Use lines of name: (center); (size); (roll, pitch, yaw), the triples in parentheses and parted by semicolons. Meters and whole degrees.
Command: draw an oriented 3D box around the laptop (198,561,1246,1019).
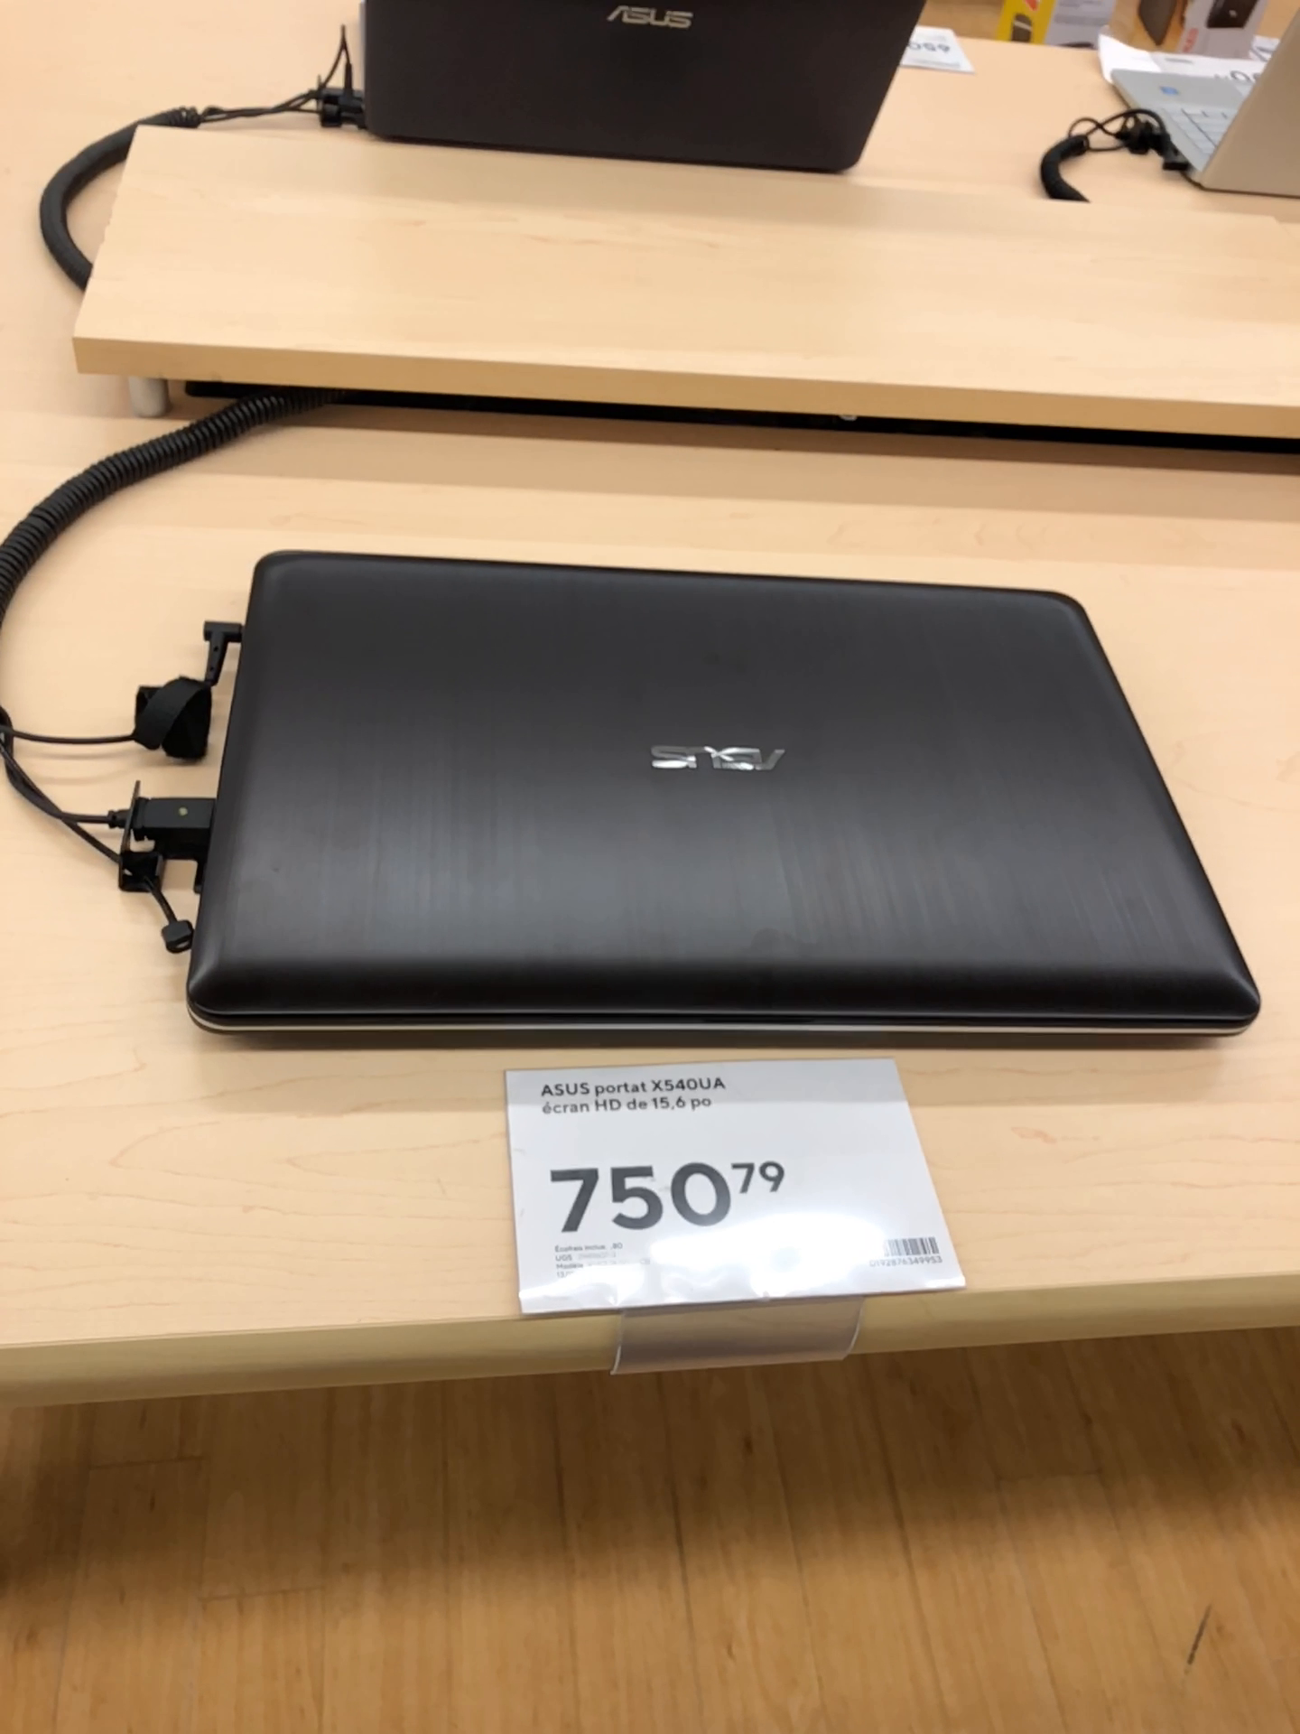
laptop: (0.027, -0.037, 0.573); (0.369, 0.010, 0.228); (1, 49, -9)
